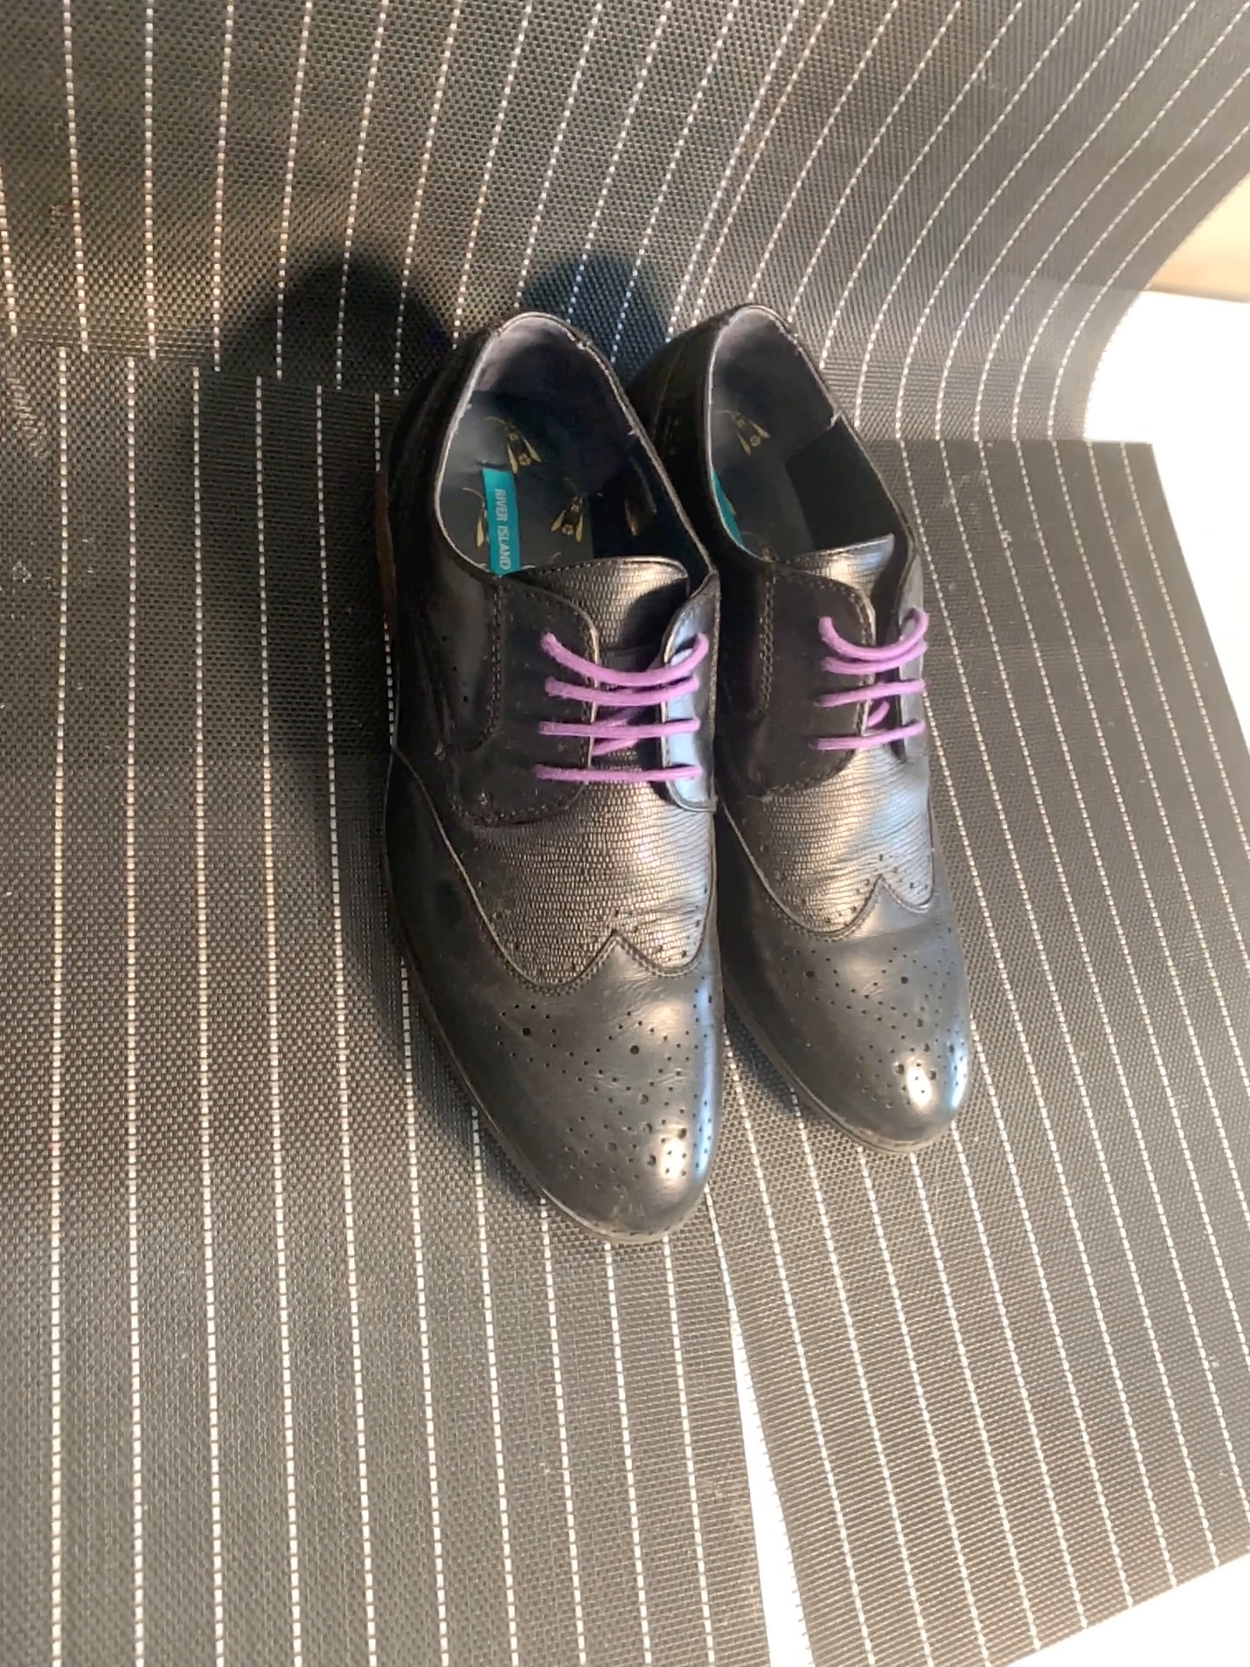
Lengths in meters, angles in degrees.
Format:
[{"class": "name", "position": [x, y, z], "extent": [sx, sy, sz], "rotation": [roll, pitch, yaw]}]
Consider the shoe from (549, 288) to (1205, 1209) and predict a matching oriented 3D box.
[{"class": "shoe", "position": [0.074, -0.031, 0.429], "extent": [0.110, 0.090, 0.280], "rotation": [-11, 80, -24]}]

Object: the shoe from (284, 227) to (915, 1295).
[{"class": "shoe", "position": [-0.020, -0.025, 0.411], "extent": [0.120, 0.100, 0.300], "rotation": [-7, 78, -23]}]
